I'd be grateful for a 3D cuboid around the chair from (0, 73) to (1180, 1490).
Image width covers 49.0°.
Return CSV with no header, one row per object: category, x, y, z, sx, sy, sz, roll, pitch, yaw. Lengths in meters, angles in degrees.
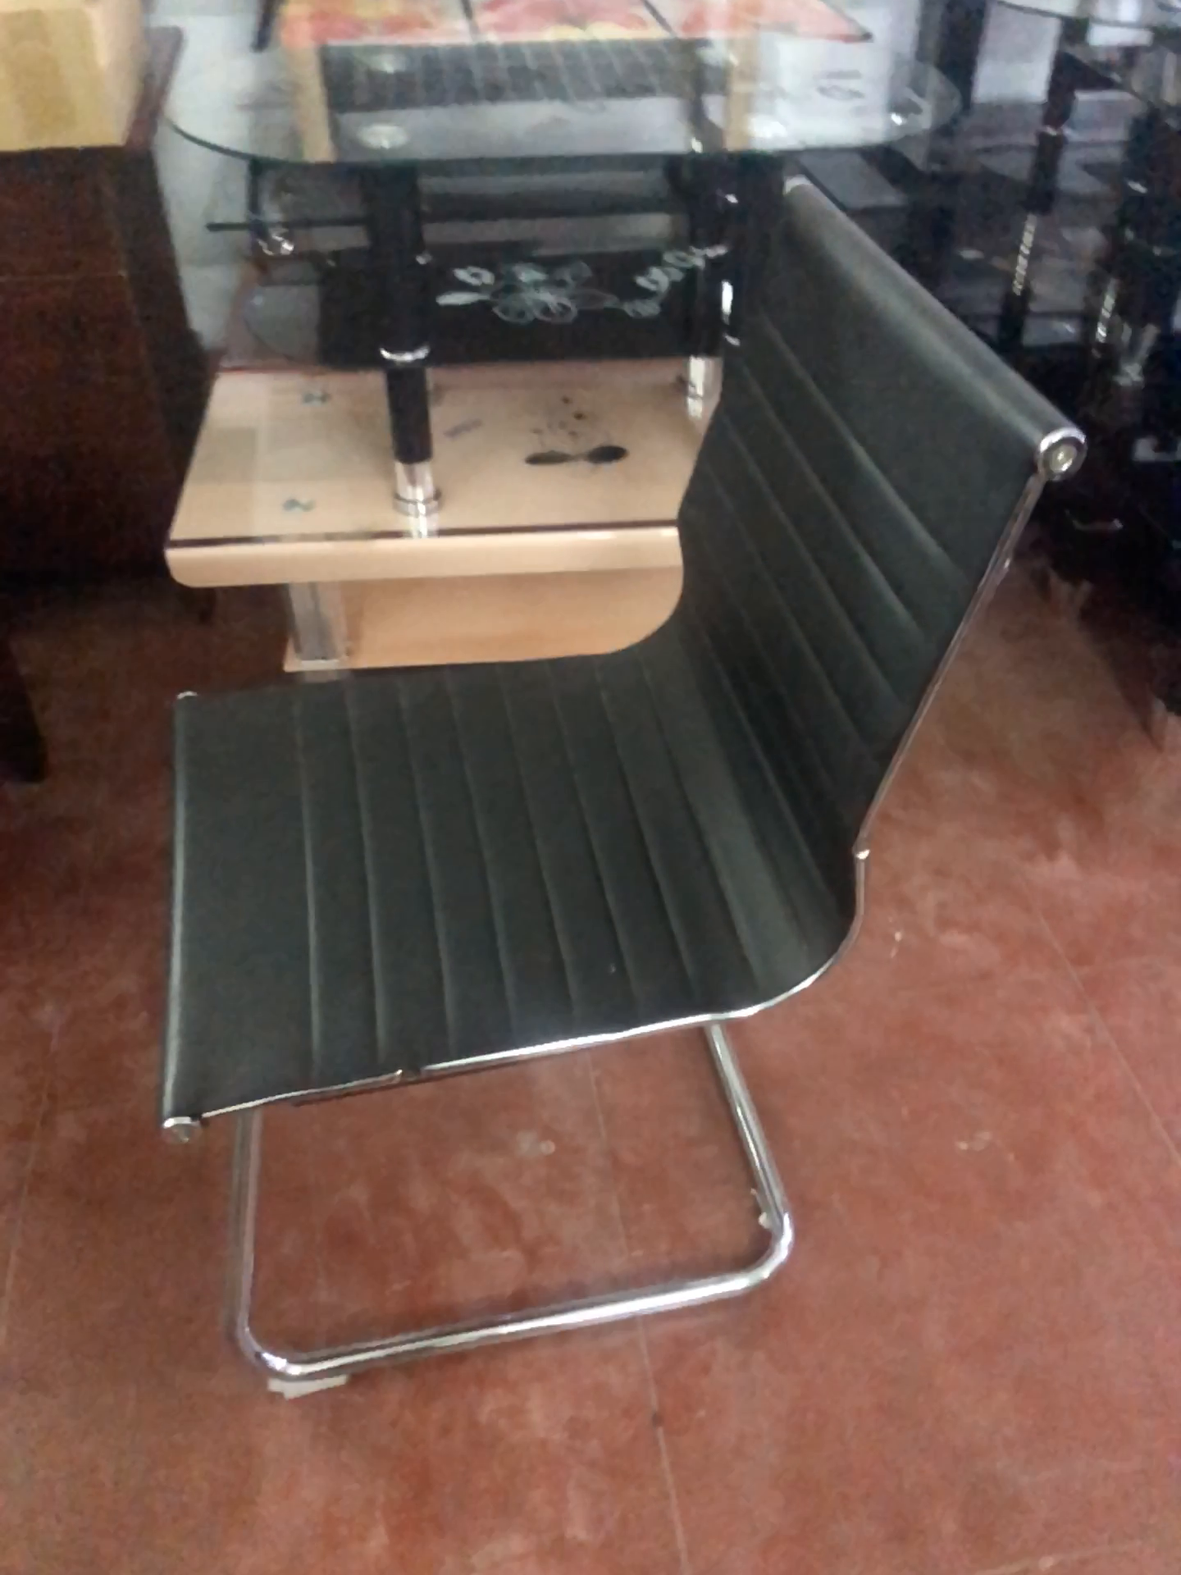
chair,-0.104,-0.003,1.025,0.681,0.856,0.593,-8,41,-9
